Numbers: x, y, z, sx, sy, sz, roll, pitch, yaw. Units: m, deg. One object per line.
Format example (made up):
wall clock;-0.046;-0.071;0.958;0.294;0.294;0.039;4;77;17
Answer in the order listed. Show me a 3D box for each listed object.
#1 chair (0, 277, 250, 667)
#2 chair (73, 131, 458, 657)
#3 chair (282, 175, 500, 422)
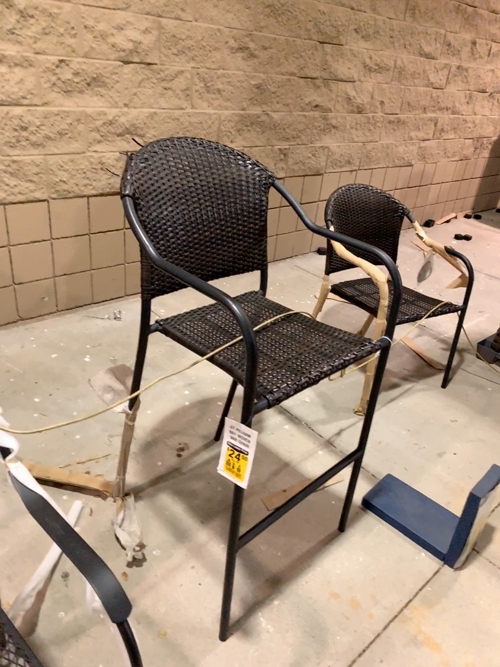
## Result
chair;-0.463;0.470;0.733;0.609;0.833;0.579;29;35;33
chair;-0.027;0.111;1.343;0.558;1.101;0.609;-21;40;-41
chair;0.603;-0.194;2.246;0.568;0.833;0.630;-11;34;-29
